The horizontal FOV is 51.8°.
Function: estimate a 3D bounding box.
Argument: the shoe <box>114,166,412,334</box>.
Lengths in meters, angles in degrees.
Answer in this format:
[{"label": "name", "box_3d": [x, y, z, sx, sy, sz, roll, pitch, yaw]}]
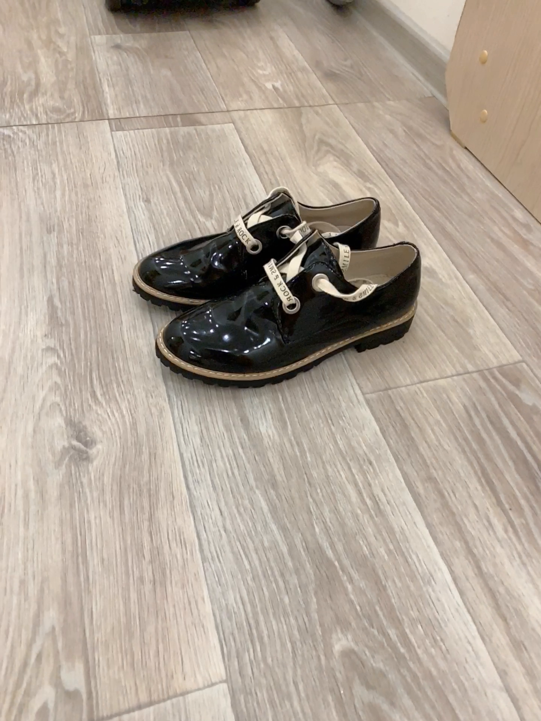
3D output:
[{"label": "shoe", "box_3d": [-0.011, -0.117, 0.573, 0.270, 0.100, 0.100, -9, 51, -13]}]

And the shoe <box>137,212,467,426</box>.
[{"label": "shoe", "box_3d": [0.027, -0.045, 0.519, 0.270, 0.100, 0.100, -15, 53, -17]}]
